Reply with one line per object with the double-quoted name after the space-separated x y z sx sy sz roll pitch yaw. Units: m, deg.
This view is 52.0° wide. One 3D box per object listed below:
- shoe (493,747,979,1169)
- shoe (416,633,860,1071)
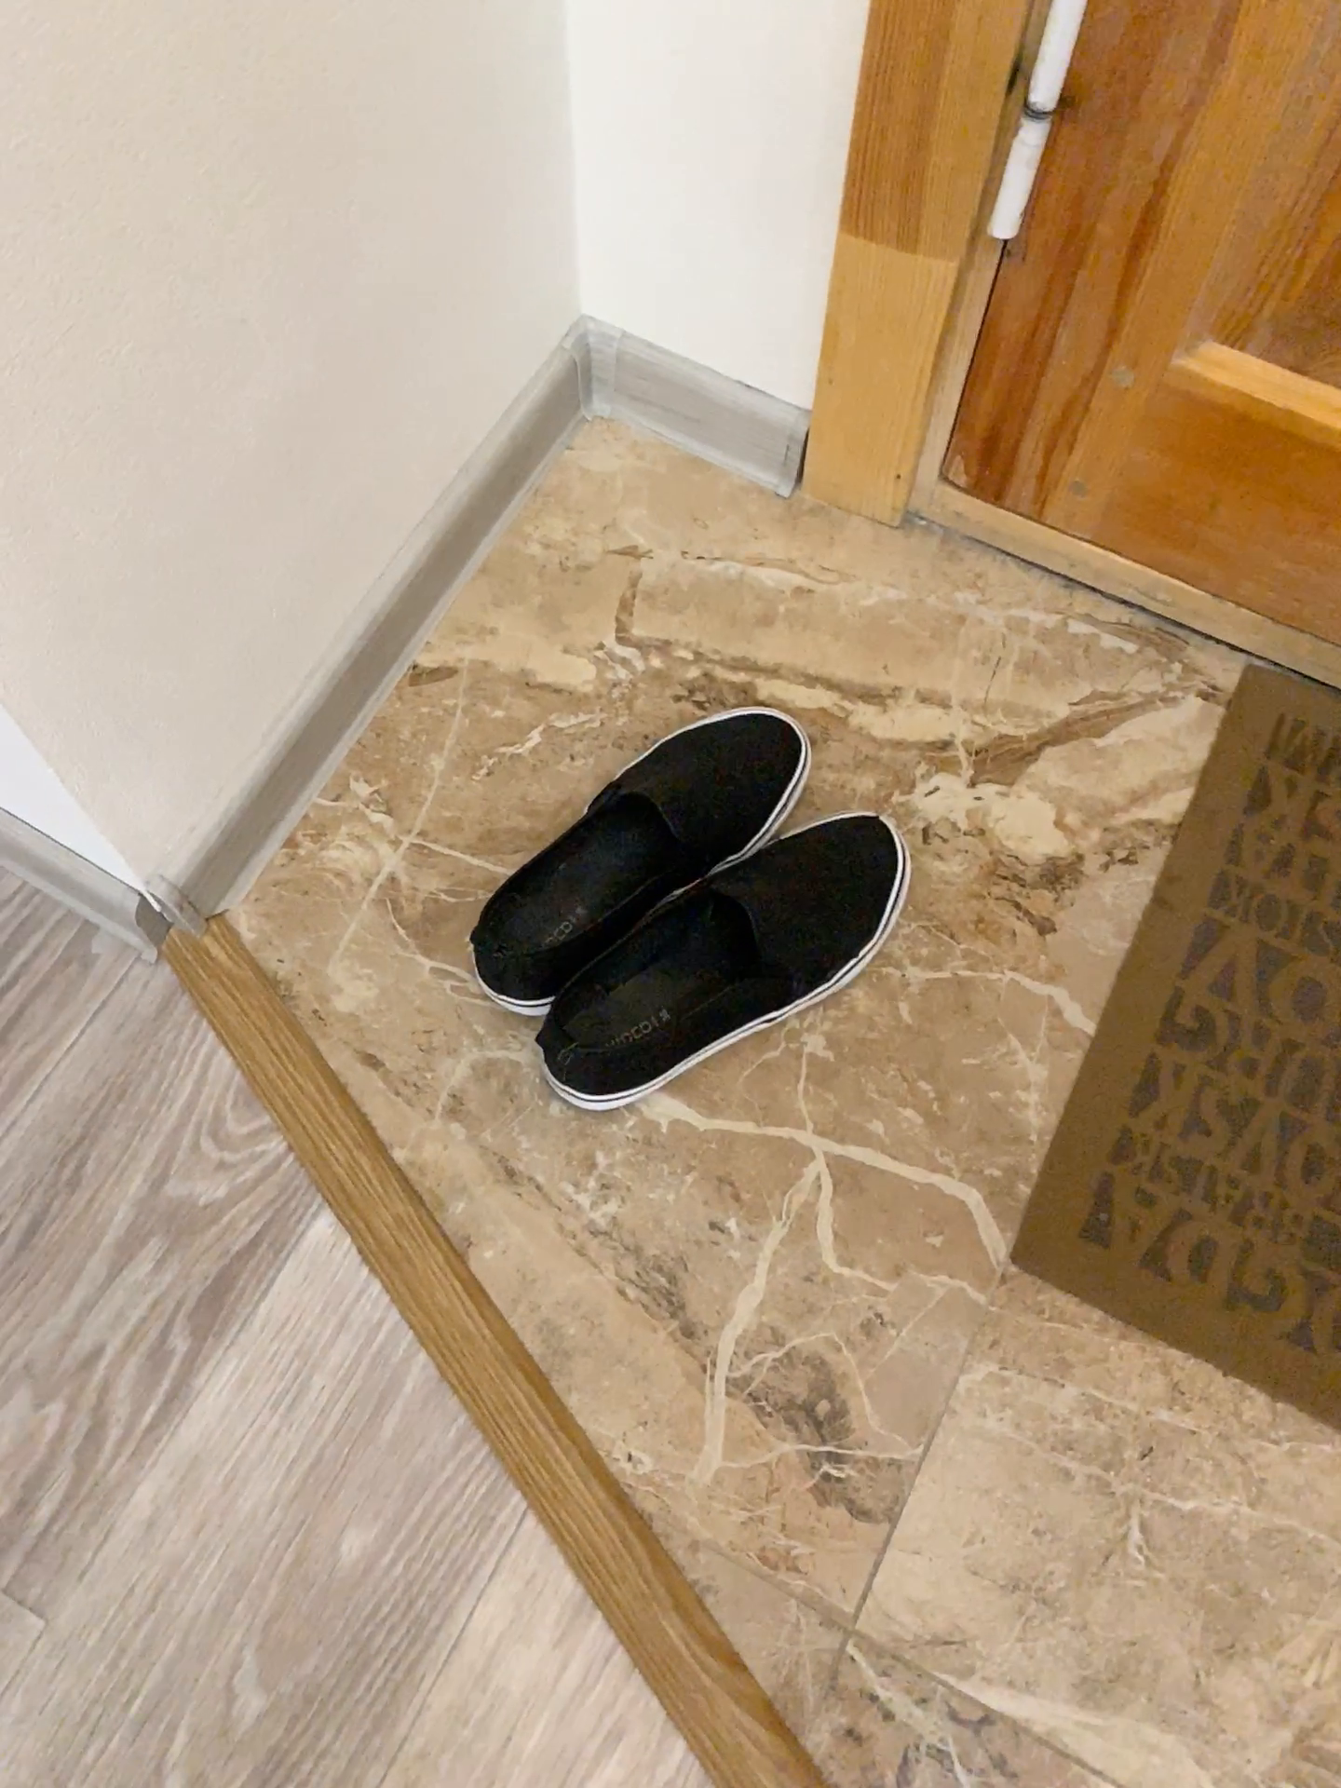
0.037 0.031 0.741 0.250 0.060 0.090 -34 70 -15 "shoe"
-0.014 -0.027 0.765 0.090 0.060 0.250 41 71 16 "shoe"
